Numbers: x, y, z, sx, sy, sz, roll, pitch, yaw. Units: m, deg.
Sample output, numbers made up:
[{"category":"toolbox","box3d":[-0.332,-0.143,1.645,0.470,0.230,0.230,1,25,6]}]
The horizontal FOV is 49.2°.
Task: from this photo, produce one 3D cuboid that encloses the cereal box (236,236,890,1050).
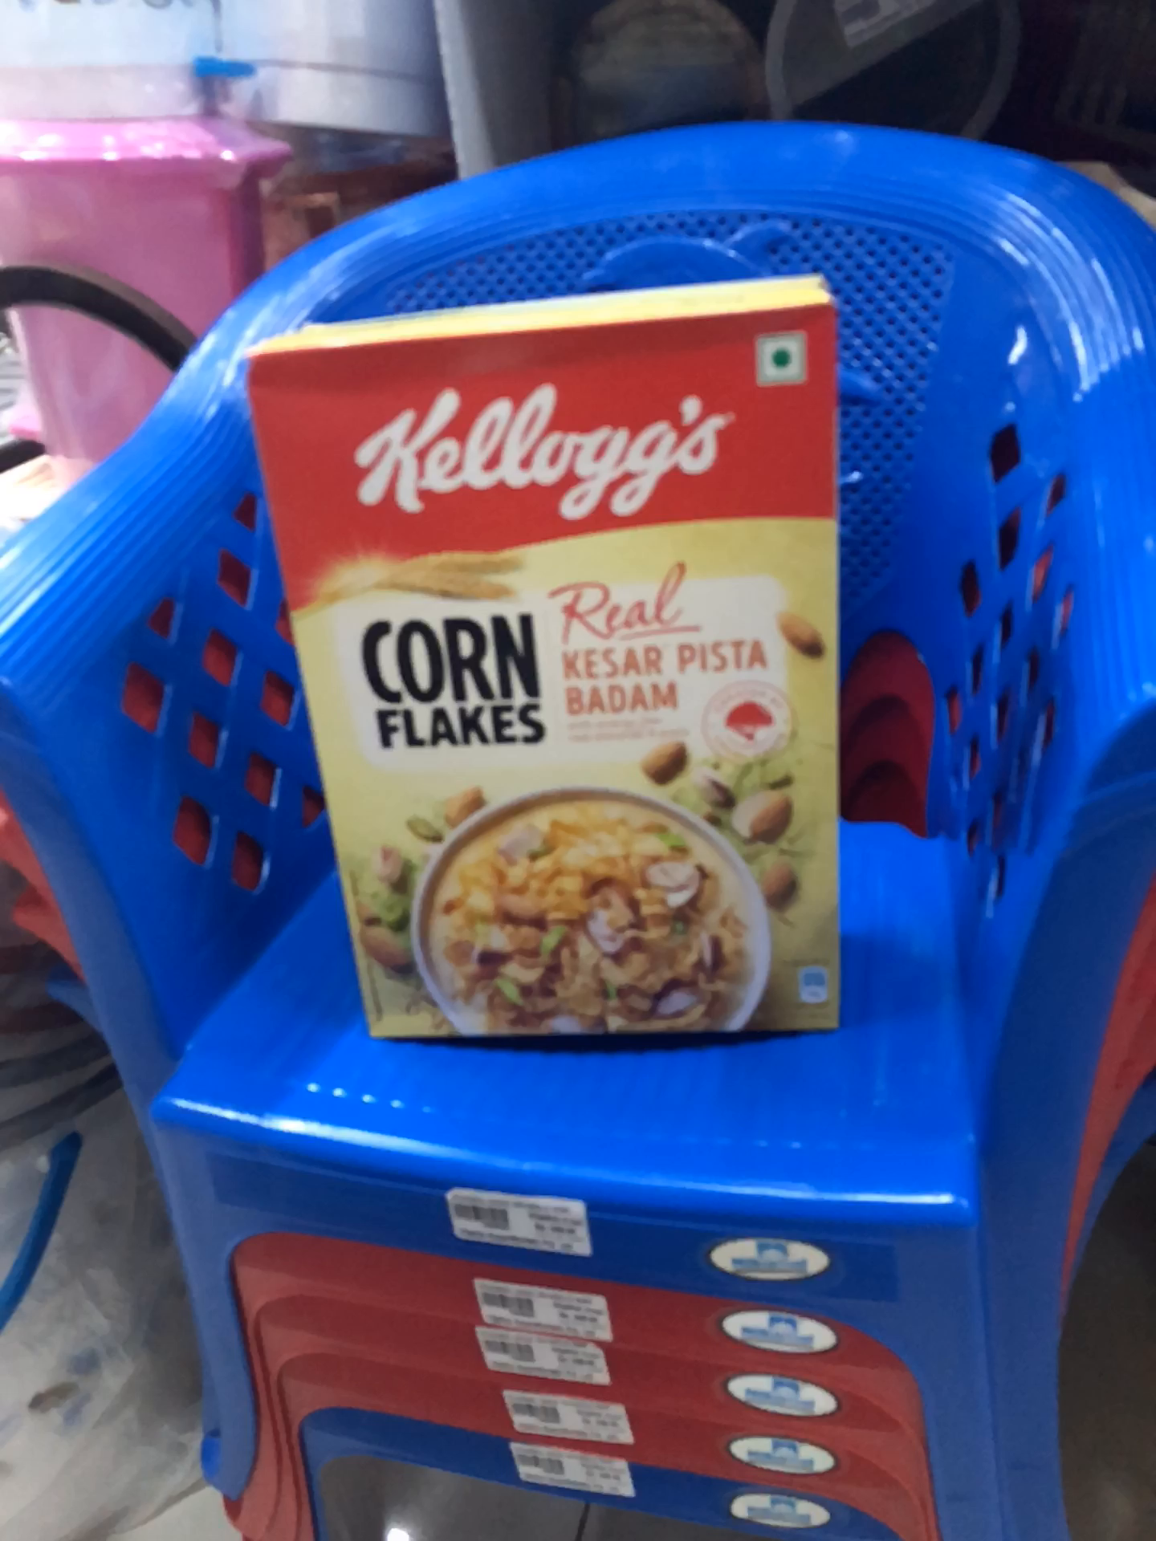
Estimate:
[{"category":"cereal box","box3d":[0.009,-0.034,0.451,0.190,0.269,0.070,-3,24,8]}]
